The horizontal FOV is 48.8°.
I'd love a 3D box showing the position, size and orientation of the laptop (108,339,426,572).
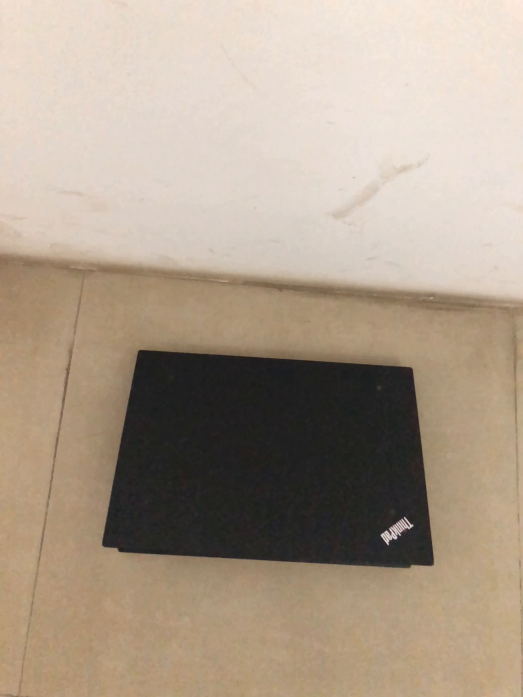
[{"bbox_3d":[0.011,0.126,0.688,0.349,0.071,0.236,4,80,0],"label":"laptop"}]
